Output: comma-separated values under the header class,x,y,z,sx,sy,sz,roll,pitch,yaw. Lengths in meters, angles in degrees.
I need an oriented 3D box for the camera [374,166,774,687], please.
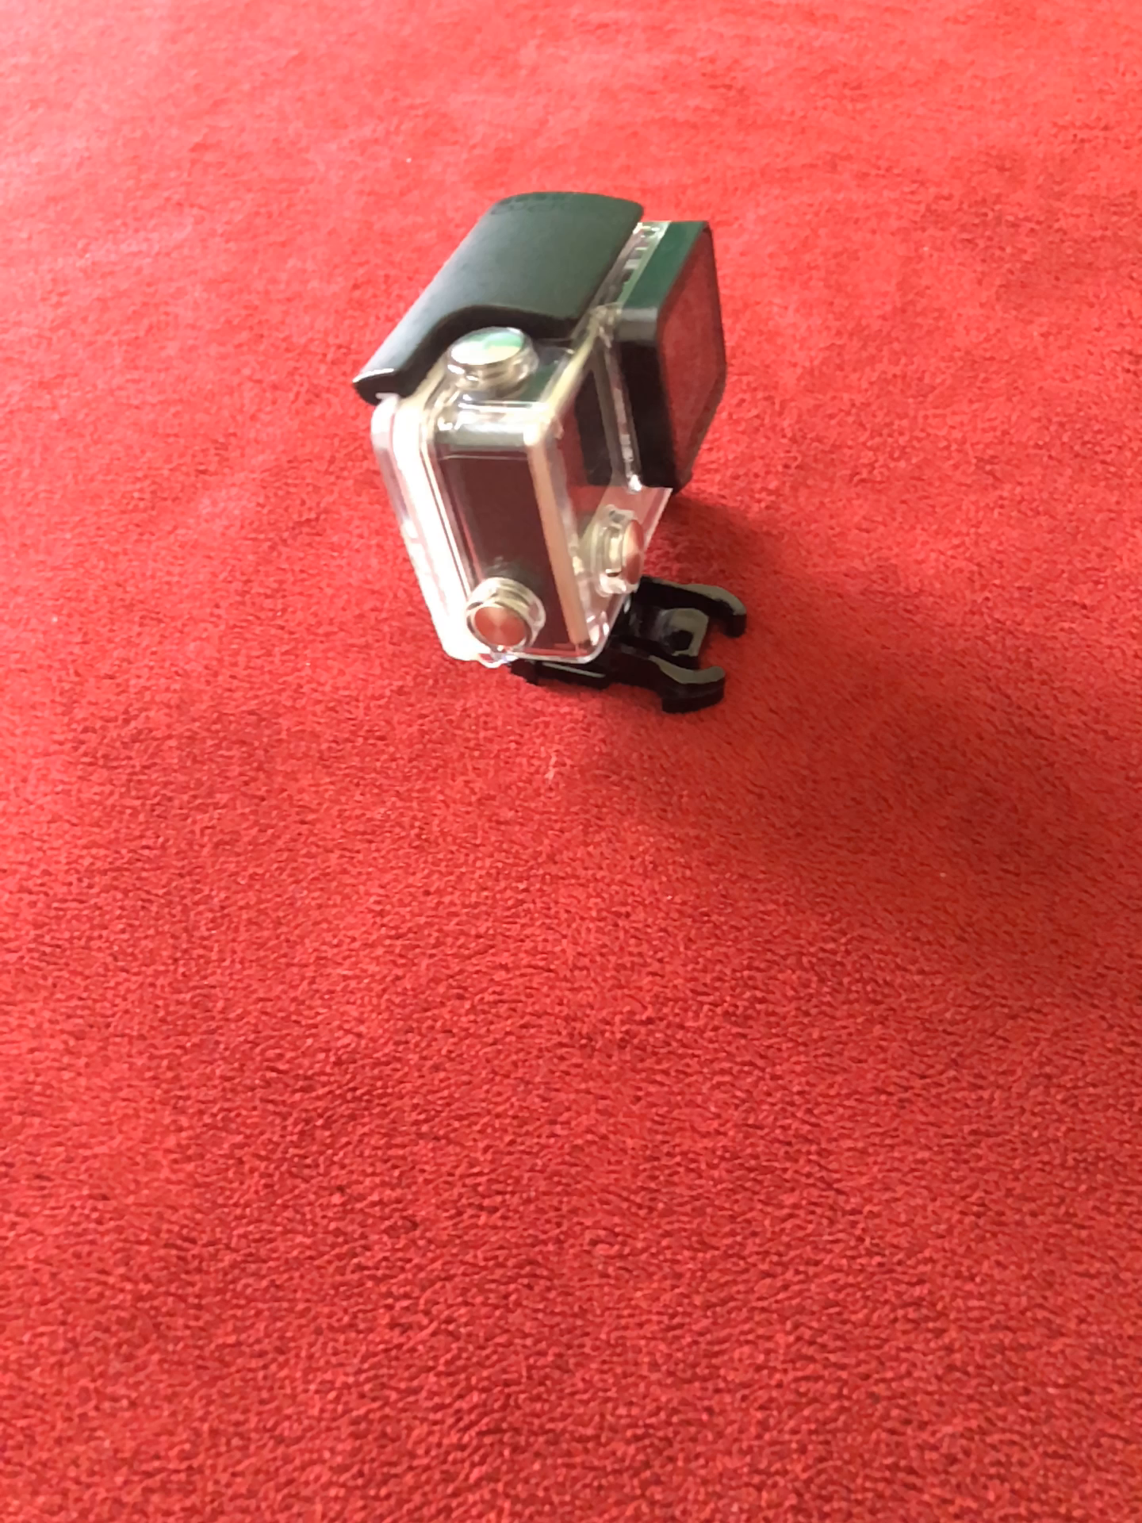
class,x,y,z,sx,sy,sz,roll,pitch,yaw
camera,0.006,-0.058,0.219,0.040,0.050,0.073,8,54,20
